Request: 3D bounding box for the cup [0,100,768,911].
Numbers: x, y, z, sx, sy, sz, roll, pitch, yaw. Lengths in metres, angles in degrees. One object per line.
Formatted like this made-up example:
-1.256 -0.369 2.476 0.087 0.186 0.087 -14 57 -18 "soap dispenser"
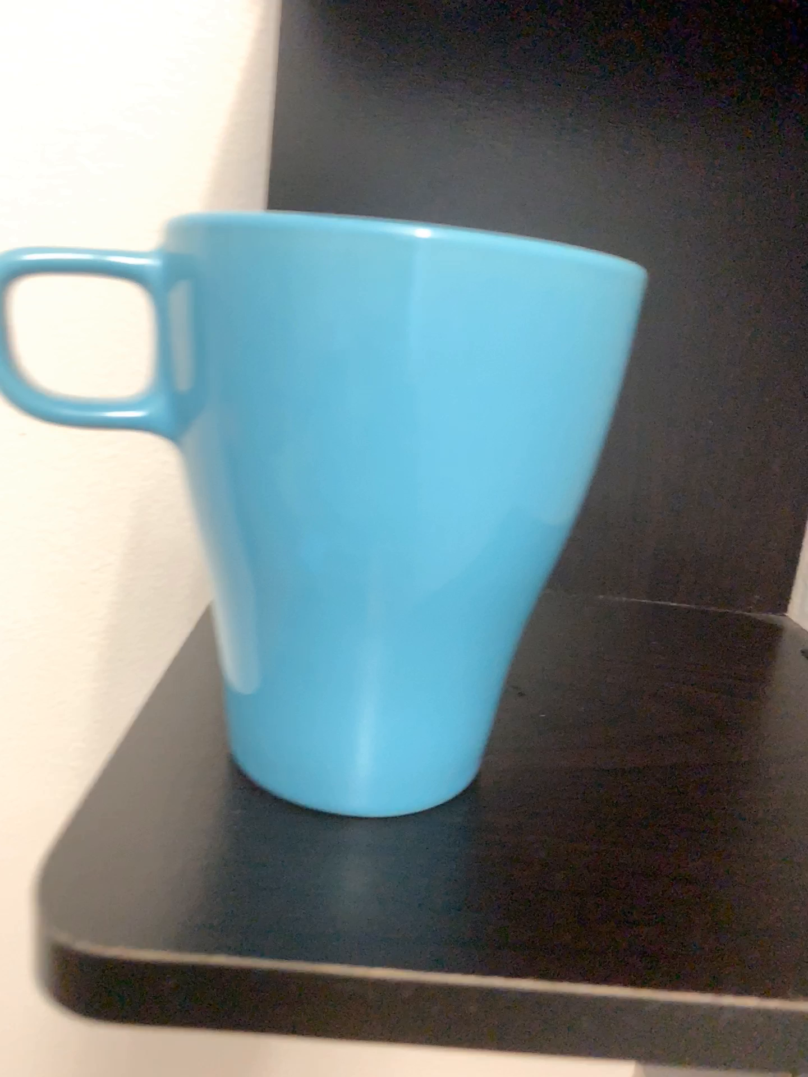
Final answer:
-0.017 -0.011 0.155 0.110 0.090 0.090 0 15 -27 "cup"
